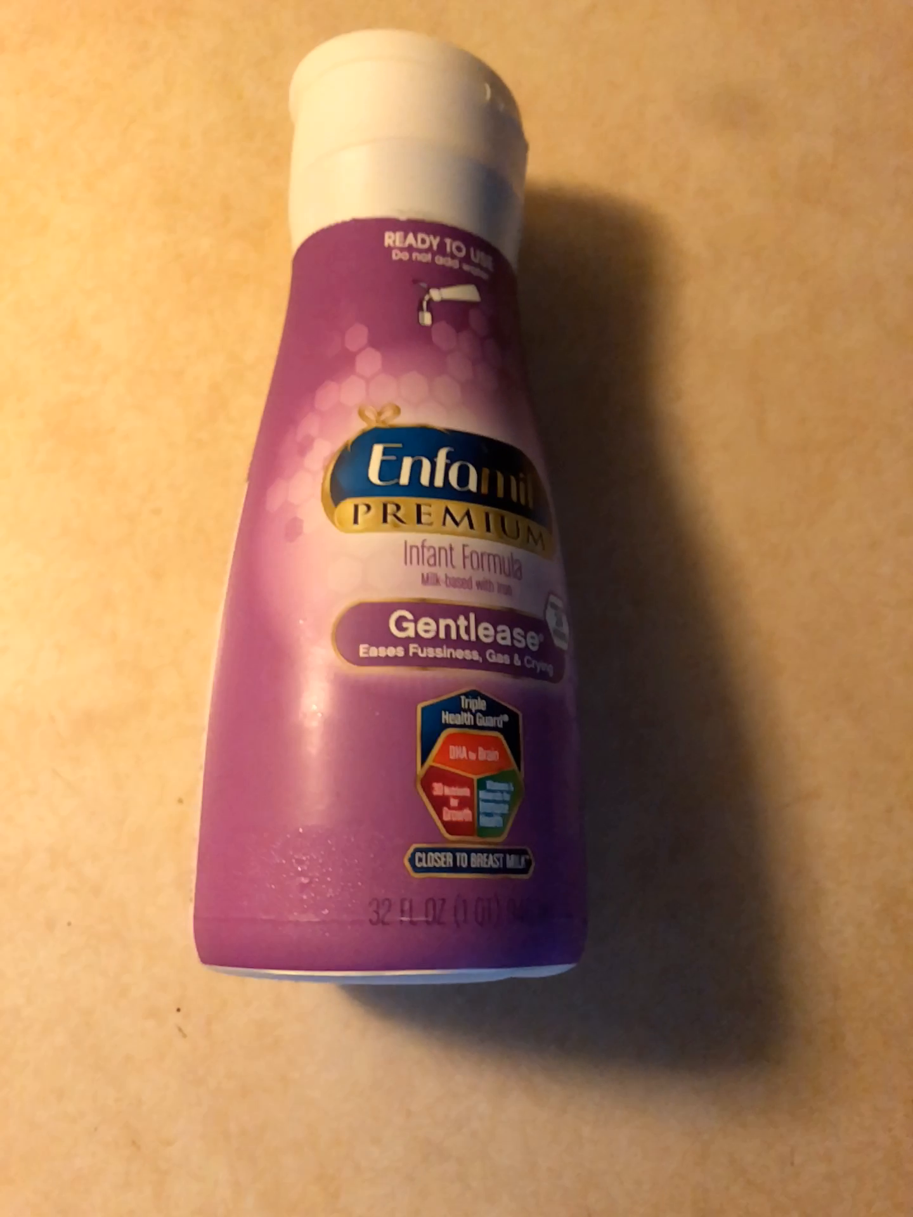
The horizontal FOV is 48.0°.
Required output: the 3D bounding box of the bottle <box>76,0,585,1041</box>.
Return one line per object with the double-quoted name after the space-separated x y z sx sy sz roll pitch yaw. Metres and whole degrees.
-0.035 -0.051 0.259 0.090 0.100 0.280 5 75 -20 "bottle"
